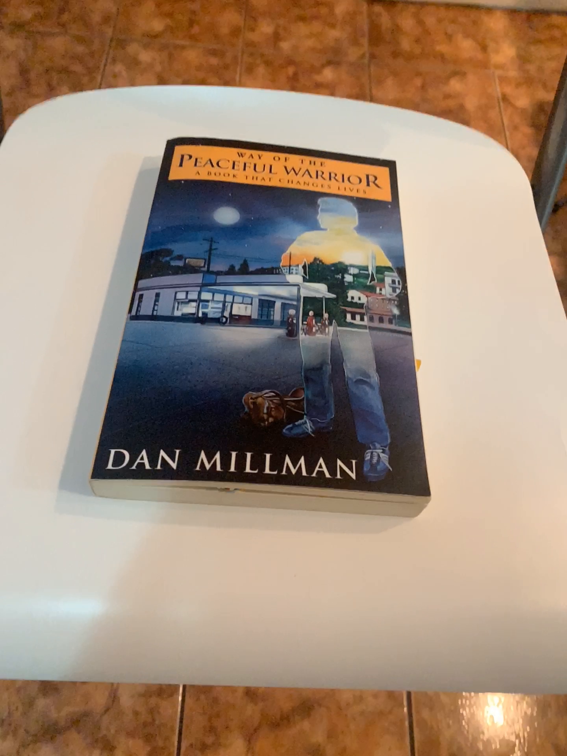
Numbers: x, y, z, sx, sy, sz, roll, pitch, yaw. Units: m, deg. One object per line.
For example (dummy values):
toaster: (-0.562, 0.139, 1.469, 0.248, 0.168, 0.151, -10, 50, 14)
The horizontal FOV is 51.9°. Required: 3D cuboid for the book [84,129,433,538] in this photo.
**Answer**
book: (-0.005, -0.033, 0.300, 0.141, 0.039, 0.211, 4, 62, -2)
